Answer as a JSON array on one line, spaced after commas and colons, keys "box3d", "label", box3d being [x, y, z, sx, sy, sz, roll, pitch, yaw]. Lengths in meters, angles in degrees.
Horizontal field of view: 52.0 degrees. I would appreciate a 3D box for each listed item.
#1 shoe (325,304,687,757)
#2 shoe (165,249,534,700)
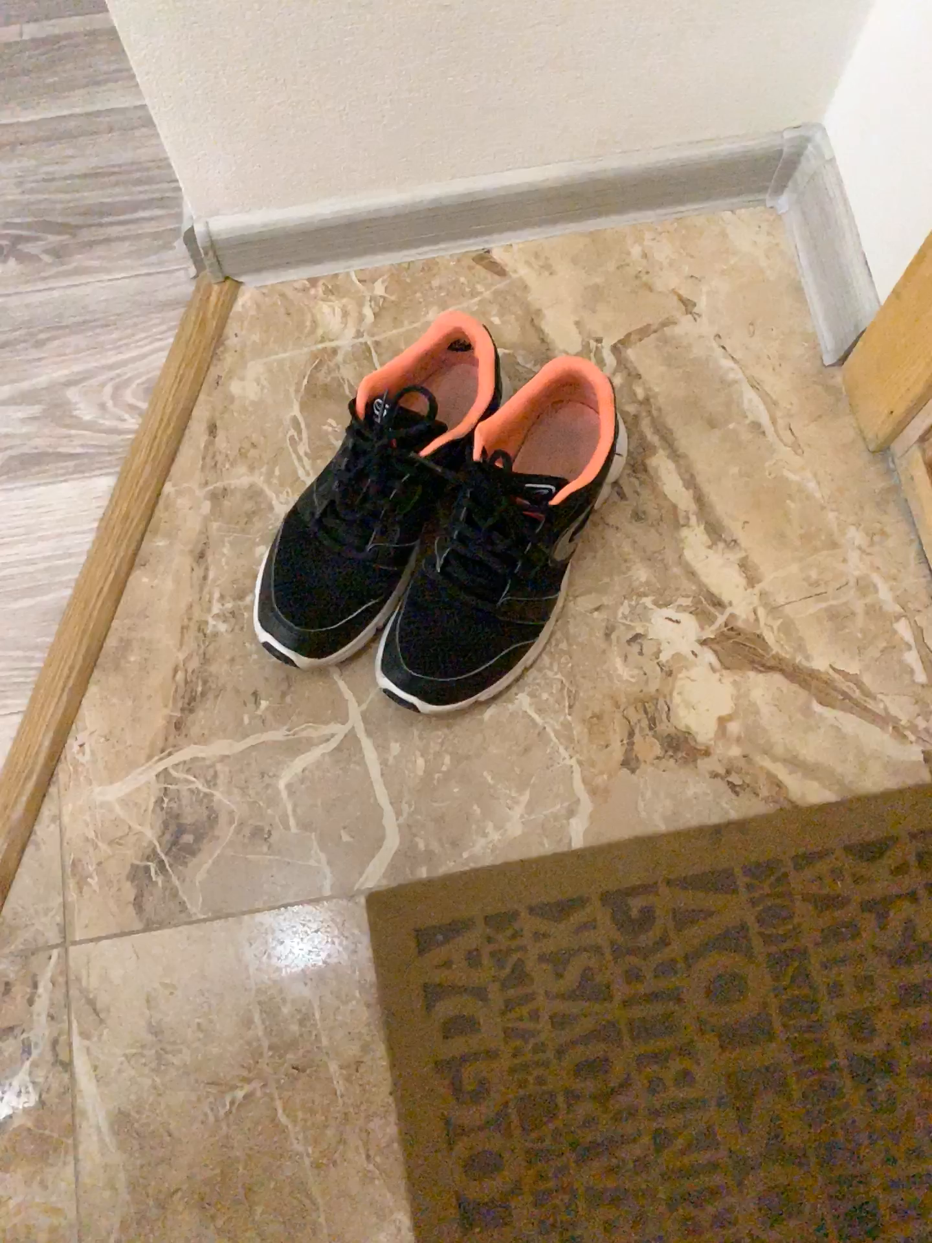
[{"box3d": [0.028, -0.054, 0.592, 0.100, 0.100, 0.244, 29, 75, 9], "label": "shoe"}, {"box3d": [-0.063, -0.091, 0.608, 0.100, 0.100, 0.250, 29, 75, 9], "label": "shoe"}]
